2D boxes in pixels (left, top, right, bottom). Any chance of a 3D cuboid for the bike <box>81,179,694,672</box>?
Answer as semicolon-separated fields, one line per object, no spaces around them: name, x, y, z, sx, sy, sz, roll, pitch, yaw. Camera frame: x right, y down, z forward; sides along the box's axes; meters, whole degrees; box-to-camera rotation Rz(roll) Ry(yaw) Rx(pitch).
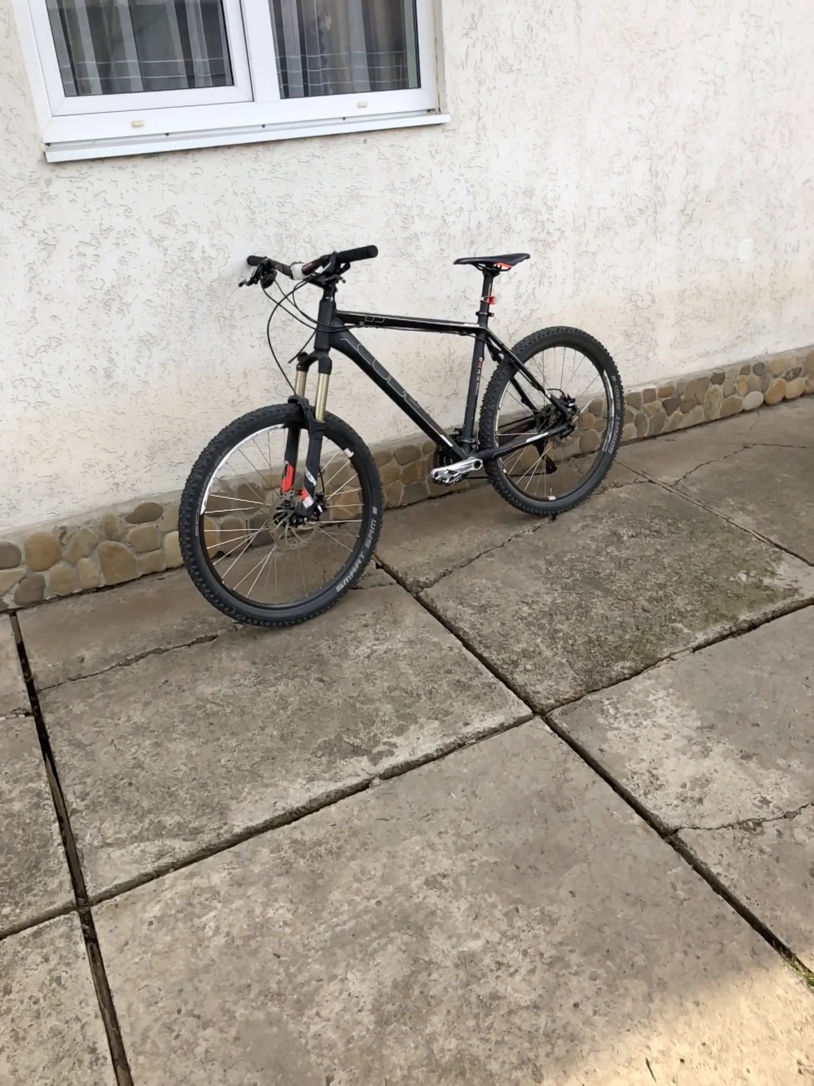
bike;0.032;-0.506;2.934;1.777;1.090;0.688;-19;32;-29
